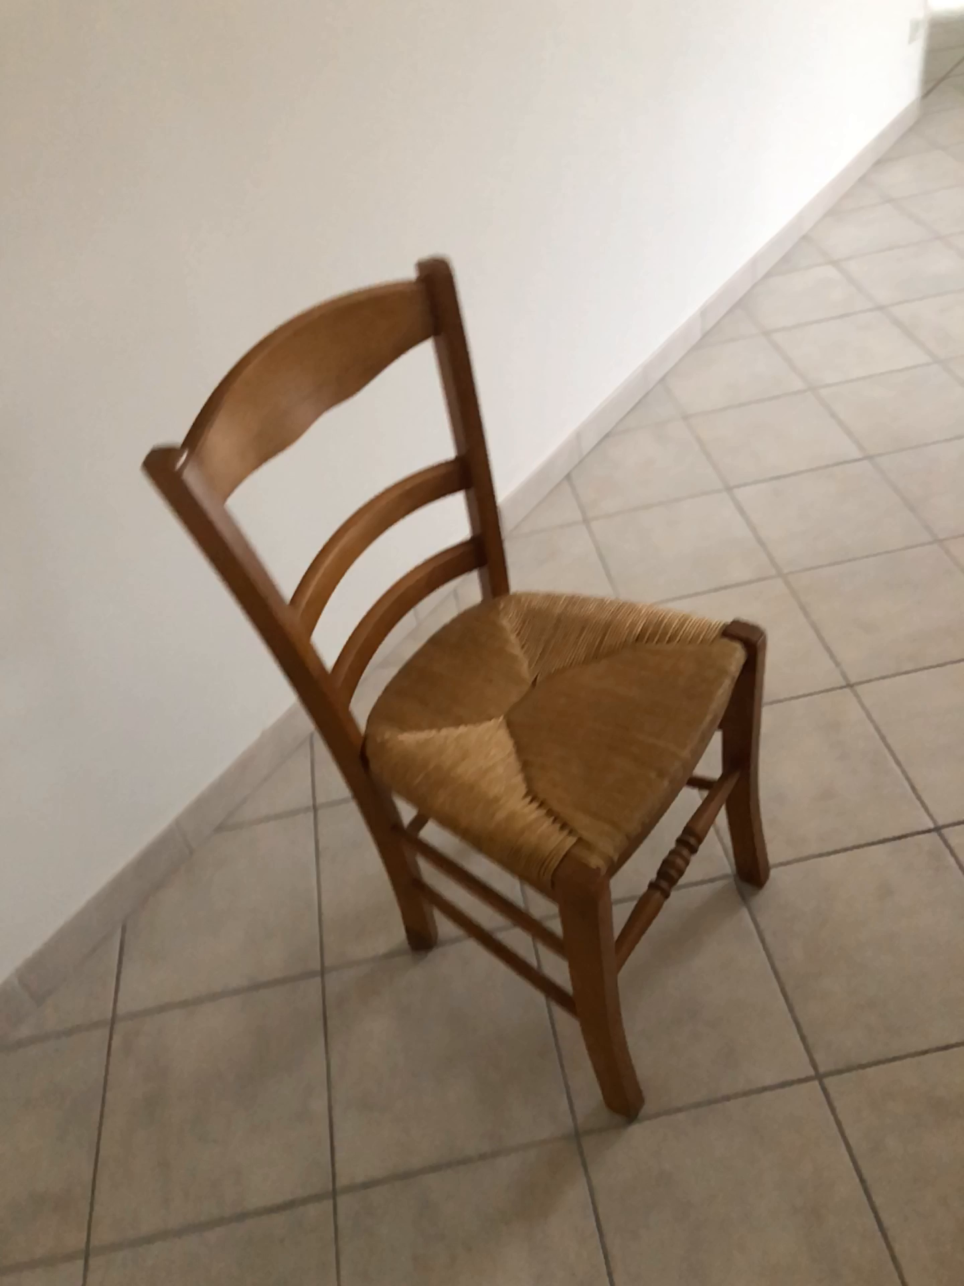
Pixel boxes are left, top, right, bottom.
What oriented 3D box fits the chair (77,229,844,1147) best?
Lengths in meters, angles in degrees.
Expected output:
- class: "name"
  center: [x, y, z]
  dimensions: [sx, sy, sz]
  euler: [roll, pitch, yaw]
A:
- class: "chair"
  center: [0.044, 0.060, 1.181]
  dimensions: [0.500, 0.826, 0.452]
  euler: [19, 50, 30]
